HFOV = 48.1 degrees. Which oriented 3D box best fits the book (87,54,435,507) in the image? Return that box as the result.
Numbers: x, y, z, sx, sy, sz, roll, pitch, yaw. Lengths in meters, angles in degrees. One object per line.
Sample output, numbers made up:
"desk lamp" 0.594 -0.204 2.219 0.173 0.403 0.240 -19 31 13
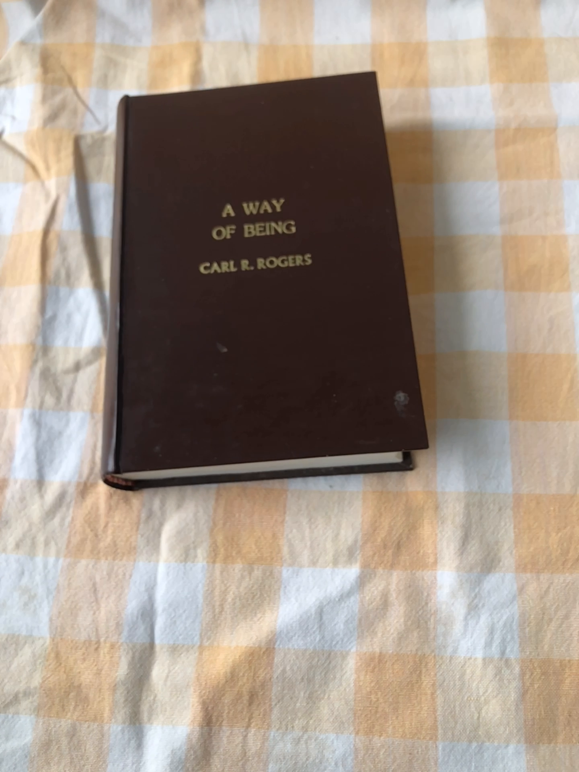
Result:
"book" -0.016 -0.055 0.324 0.140 0.060 0.210 -5 70 3
